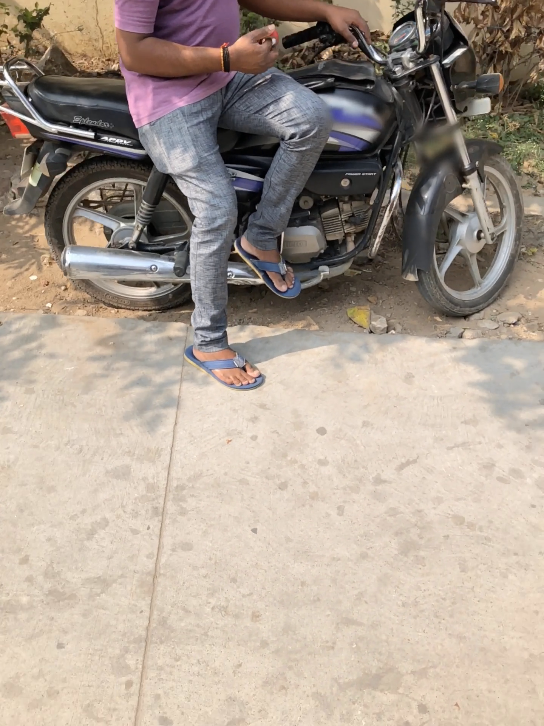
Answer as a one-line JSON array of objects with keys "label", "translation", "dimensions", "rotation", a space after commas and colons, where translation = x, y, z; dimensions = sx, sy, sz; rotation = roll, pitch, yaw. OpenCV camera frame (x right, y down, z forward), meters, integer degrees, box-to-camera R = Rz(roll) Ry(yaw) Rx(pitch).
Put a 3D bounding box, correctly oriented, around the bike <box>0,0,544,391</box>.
[{"label": "bike", "translation": [0.072, -0.755, 2.127], "dimensions": [1.759, 1.294, 0.774], "rotation": [-6, 43, -2]}]
